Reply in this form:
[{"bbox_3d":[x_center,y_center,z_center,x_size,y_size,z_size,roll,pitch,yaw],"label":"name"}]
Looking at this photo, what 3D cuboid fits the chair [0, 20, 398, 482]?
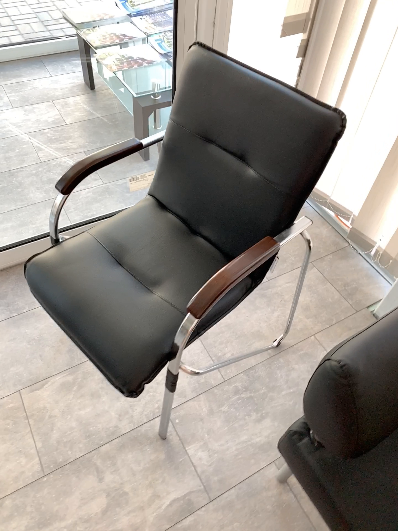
[{"bbox_3d":[-0.085,-0.039,1.124,0.681,0.827,0.701,39,58,25],"label":"chair"}]
